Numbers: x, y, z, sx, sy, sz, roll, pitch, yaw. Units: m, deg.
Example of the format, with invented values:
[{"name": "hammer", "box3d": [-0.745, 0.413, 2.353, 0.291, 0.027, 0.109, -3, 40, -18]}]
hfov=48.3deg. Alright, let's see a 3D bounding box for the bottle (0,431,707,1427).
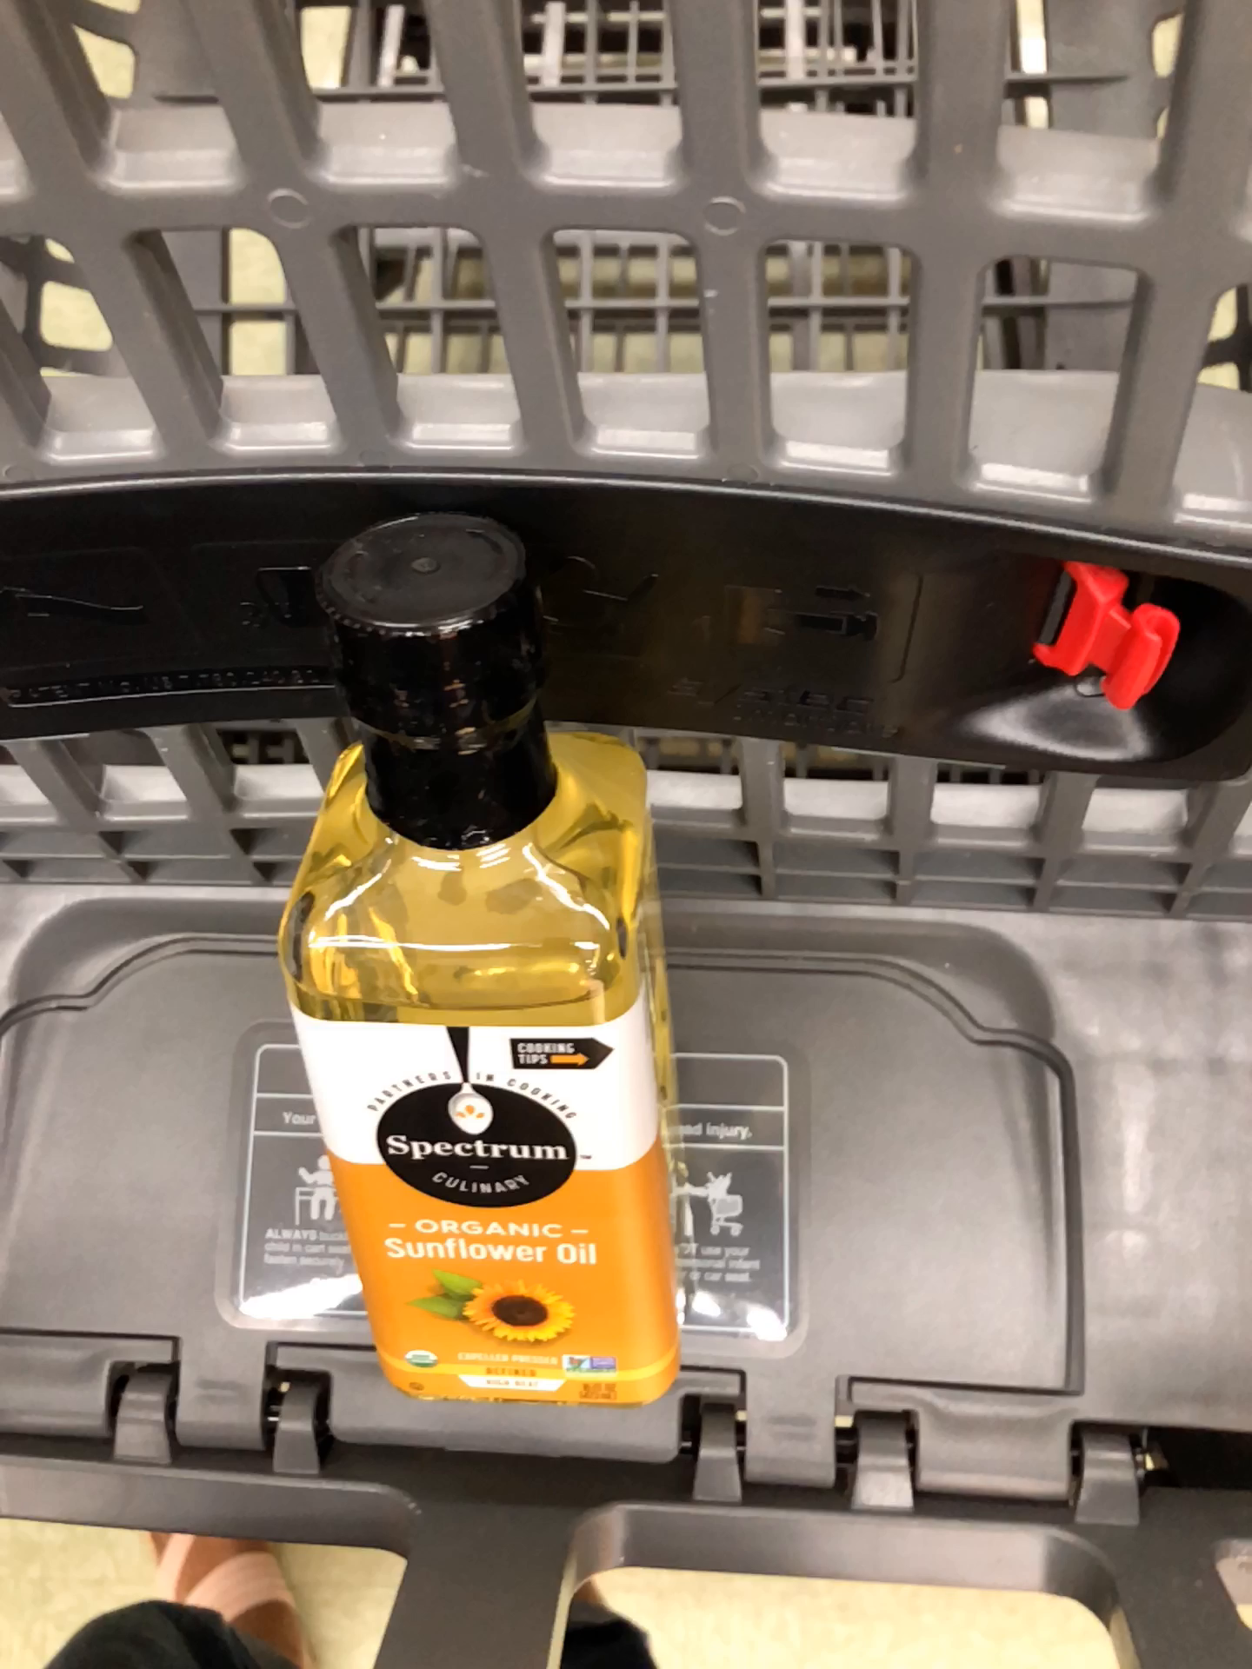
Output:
[{"name": "bottle", "box3d": [-0.027, 0.035, 0.258, 0.080, 0.200, 0.070, 0, 47, 4]}]
